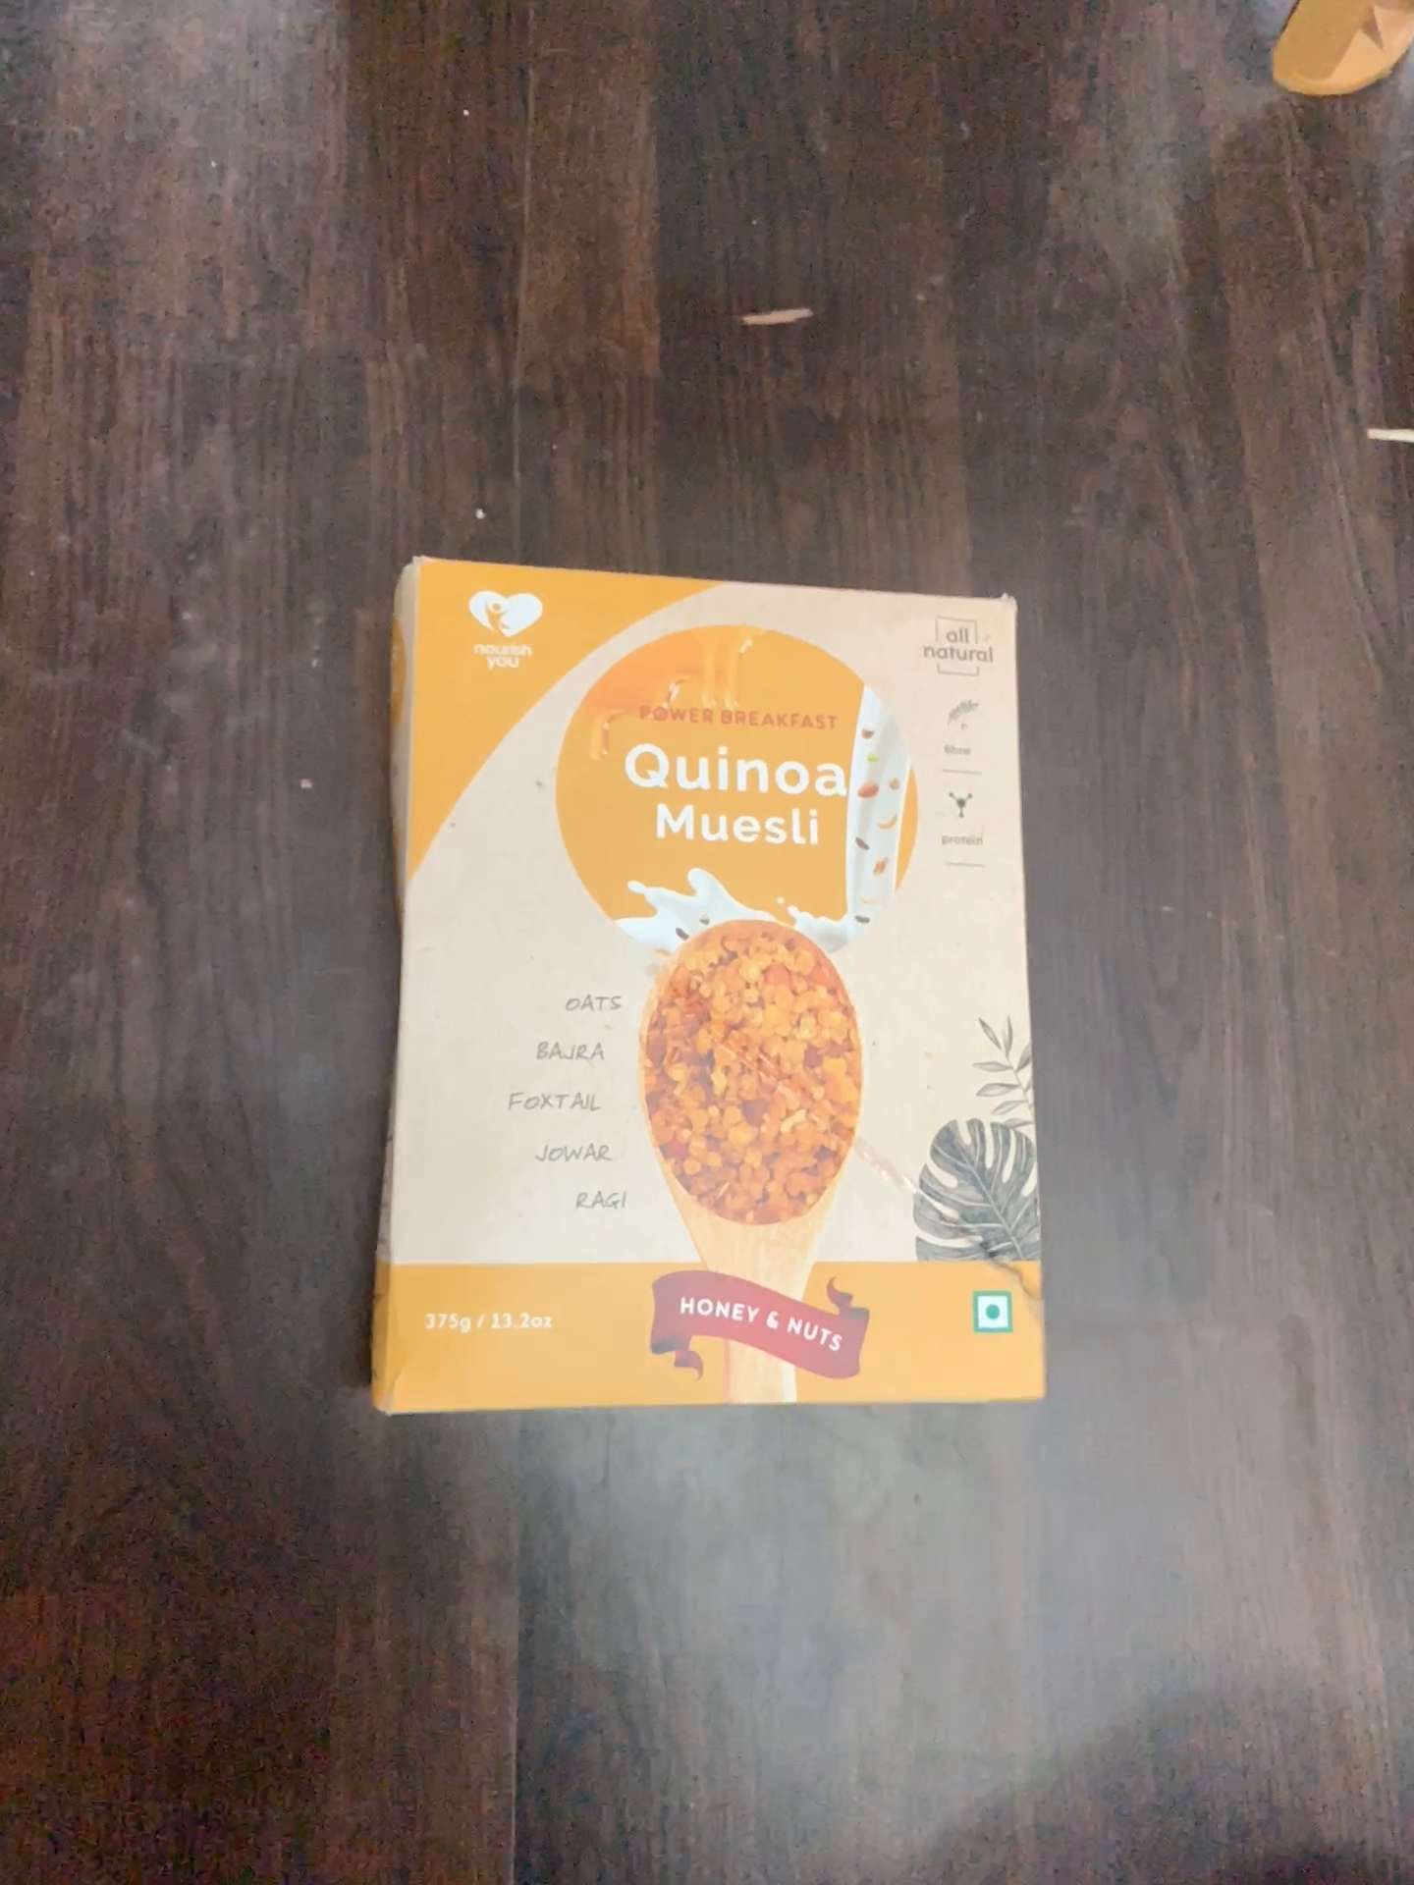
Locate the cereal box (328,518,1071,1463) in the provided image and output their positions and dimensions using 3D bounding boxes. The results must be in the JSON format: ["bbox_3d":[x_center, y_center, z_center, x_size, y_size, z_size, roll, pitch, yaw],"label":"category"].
[{"bbox_3d":[-0.002,0.013,0.379,0.170,0.060,0.220,2,80,-8],"label":"cereal box"}]
